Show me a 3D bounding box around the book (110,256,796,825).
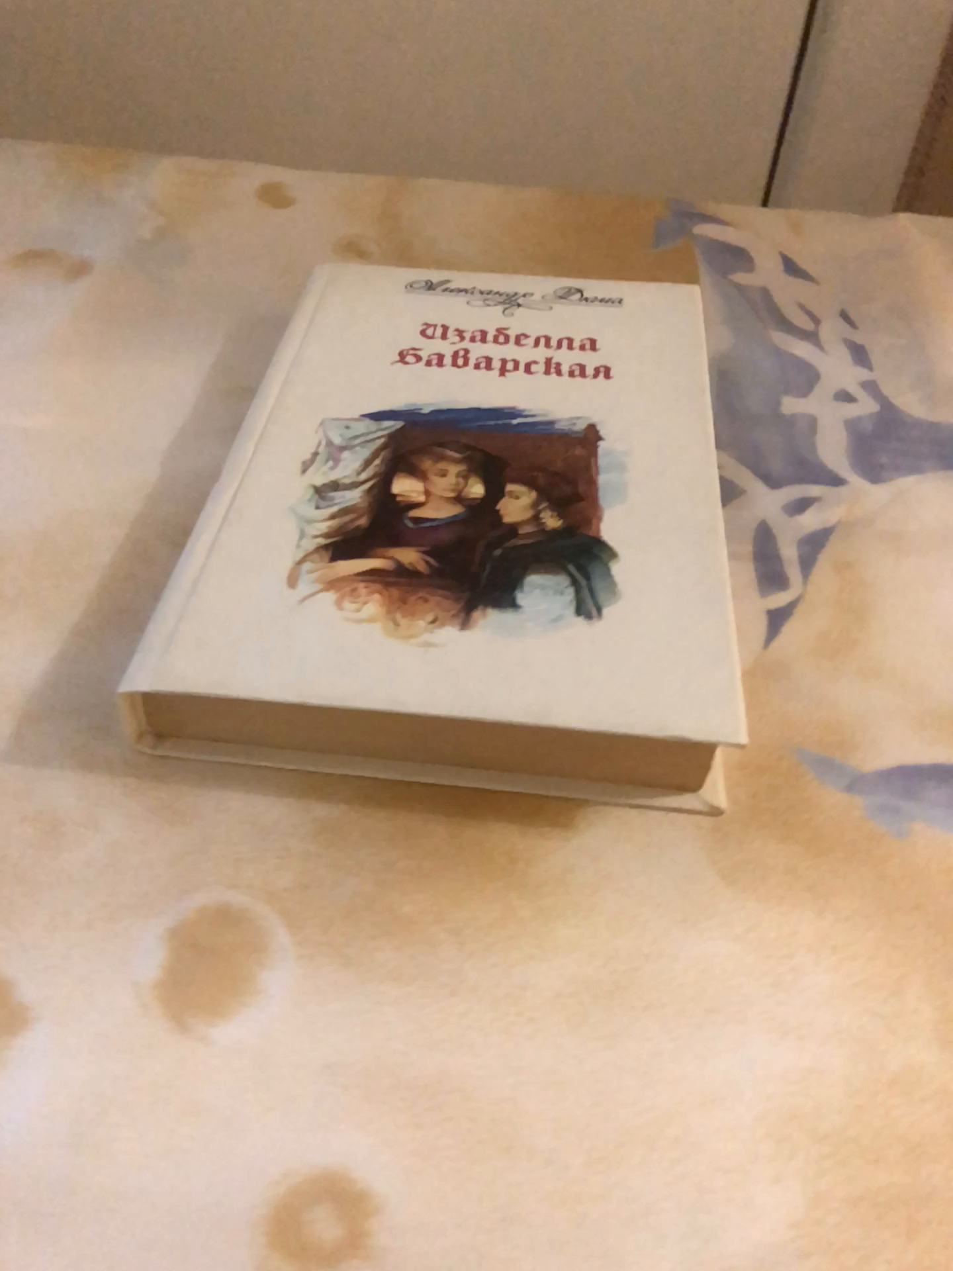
[{"bbox_3d":[0.003,-0.046,0.298,0.139,0.026,0.209,4,44,3],"label":"book"}]
